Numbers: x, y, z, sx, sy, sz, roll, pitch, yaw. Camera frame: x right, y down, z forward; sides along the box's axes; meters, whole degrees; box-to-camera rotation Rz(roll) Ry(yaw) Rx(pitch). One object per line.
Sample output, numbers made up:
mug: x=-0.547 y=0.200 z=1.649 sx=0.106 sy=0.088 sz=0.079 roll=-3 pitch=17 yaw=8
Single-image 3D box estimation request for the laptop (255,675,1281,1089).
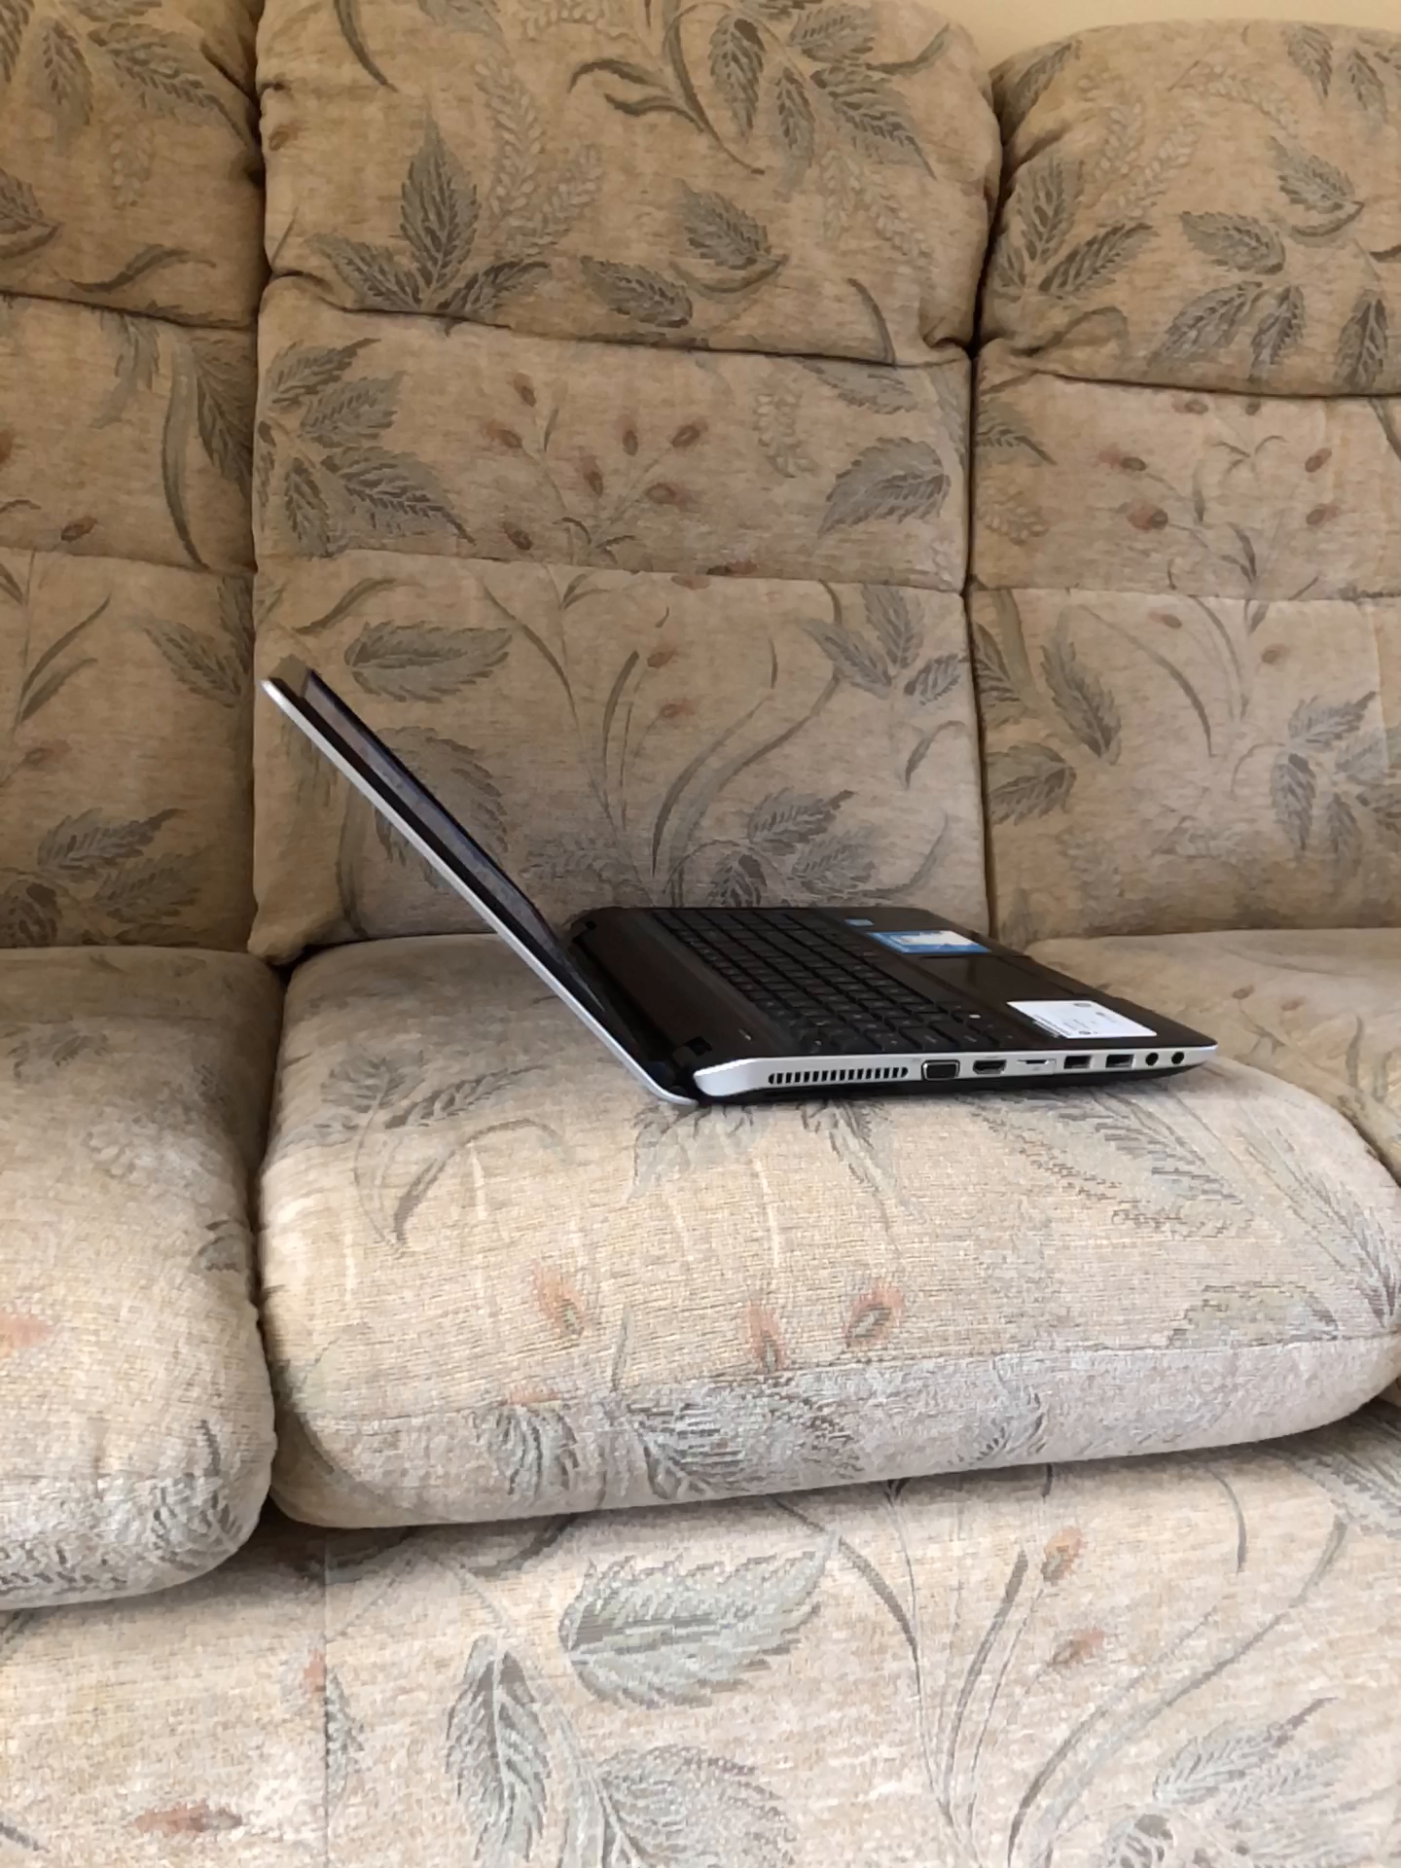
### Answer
laptop: x=0.000 y=-0.050 z=0.803 sx=0.410 sy=0.151 sz=0.397 roll=0 pitch=11 yaw=-14
